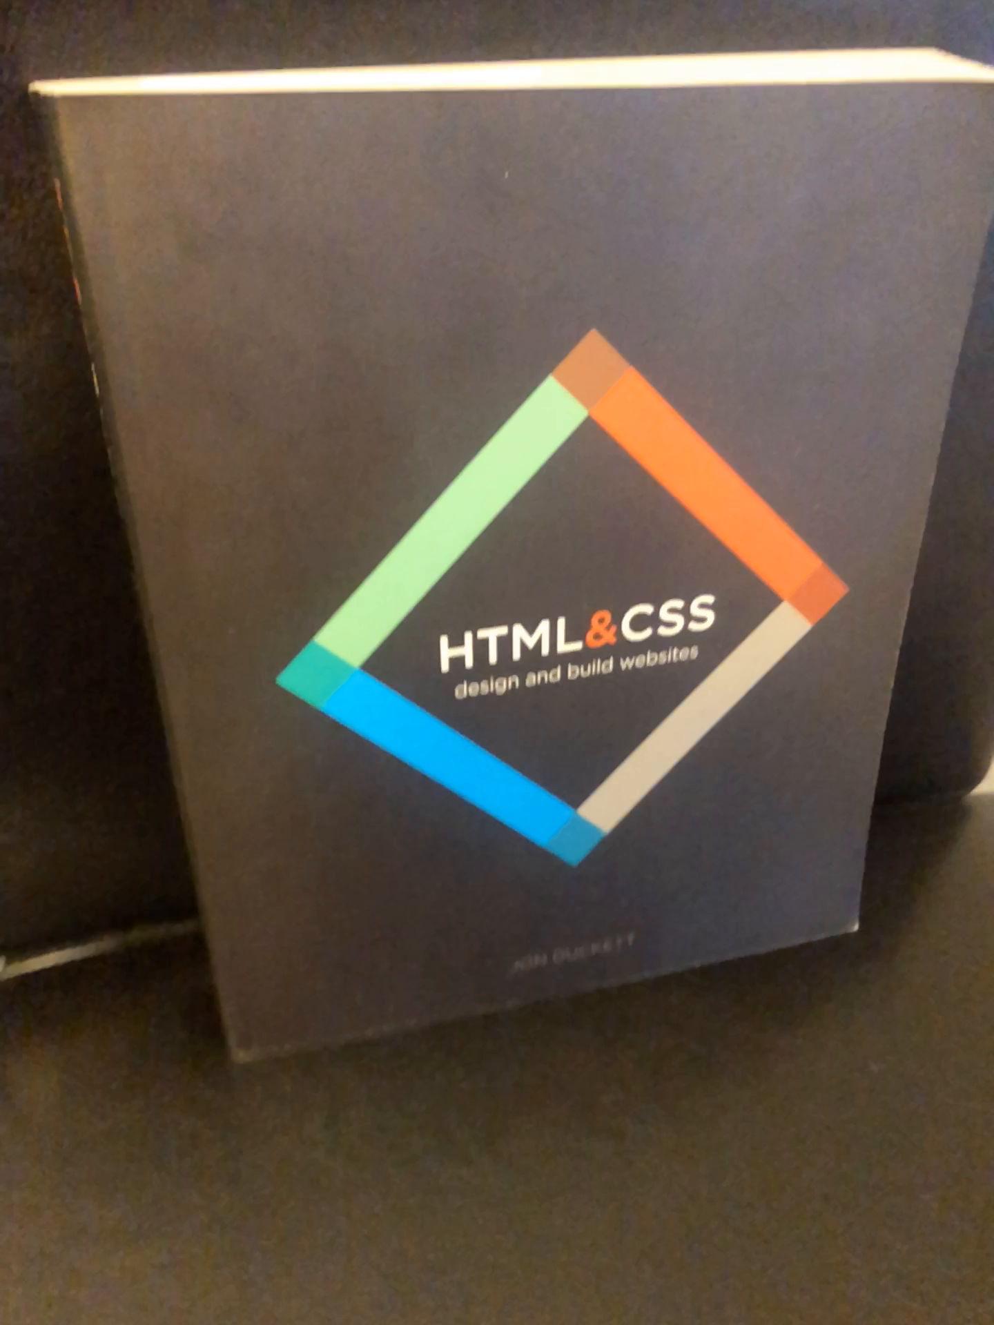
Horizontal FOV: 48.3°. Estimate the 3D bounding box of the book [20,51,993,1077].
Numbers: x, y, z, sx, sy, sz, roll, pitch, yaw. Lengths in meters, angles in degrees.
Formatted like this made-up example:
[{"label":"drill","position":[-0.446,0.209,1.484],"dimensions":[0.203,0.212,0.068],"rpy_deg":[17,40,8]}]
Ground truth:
[{"label":"book","position":[0.014,-0.012,0.264],"dimensions":[0.189,0.230,0.030],"rpy_deg":[-8,31,-12]}]
